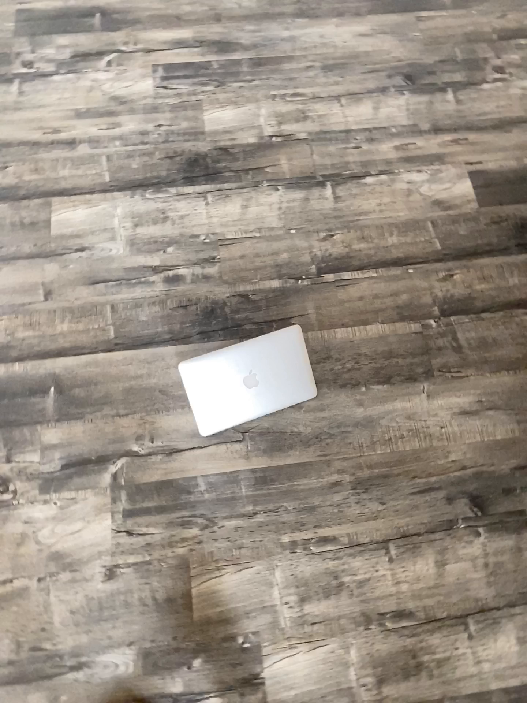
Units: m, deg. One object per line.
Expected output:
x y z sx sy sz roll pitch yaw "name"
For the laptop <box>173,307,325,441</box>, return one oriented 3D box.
-0.033 0.048 1.138 0.270 0.113 0.173 -19 70 -8 "laptop"
